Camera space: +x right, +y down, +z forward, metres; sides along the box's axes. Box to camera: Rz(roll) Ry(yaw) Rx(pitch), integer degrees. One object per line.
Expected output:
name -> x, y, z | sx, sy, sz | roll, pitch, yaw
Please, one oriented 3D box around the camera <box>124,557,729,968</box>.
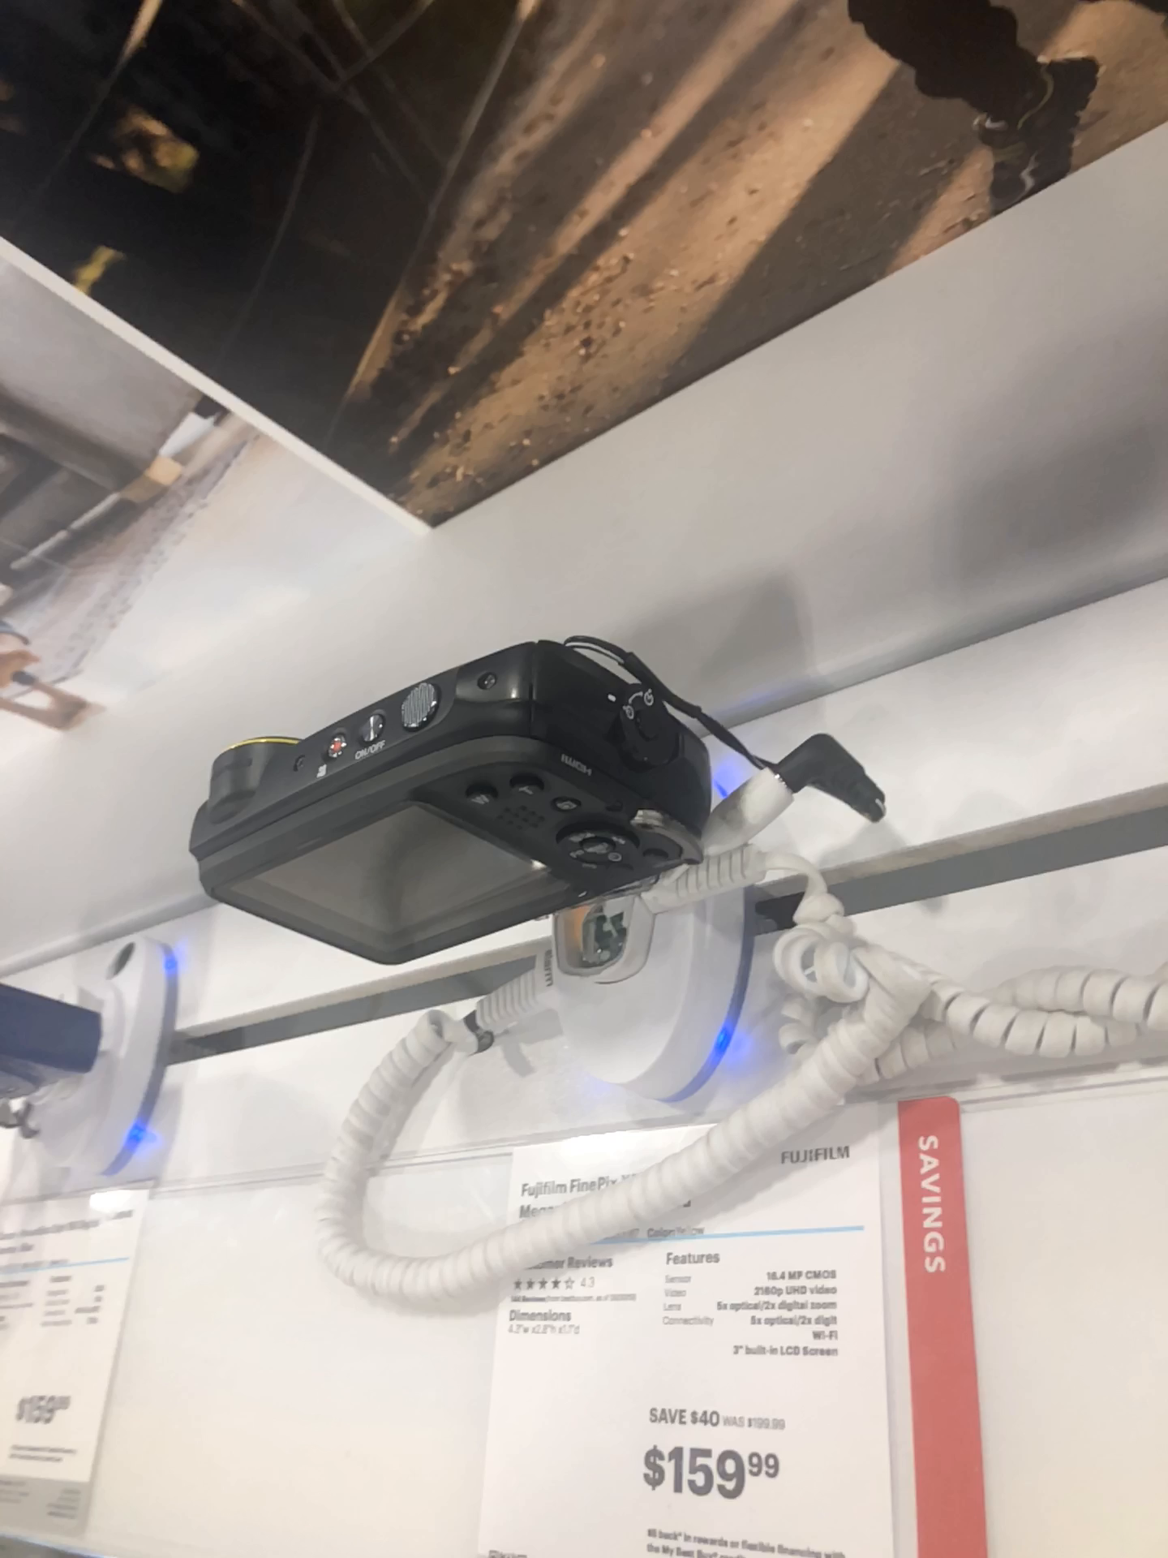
camera -> -0.035, 0.004, 0.278 | 0.110, 0.070, 0.030 | -23, 52, 36
